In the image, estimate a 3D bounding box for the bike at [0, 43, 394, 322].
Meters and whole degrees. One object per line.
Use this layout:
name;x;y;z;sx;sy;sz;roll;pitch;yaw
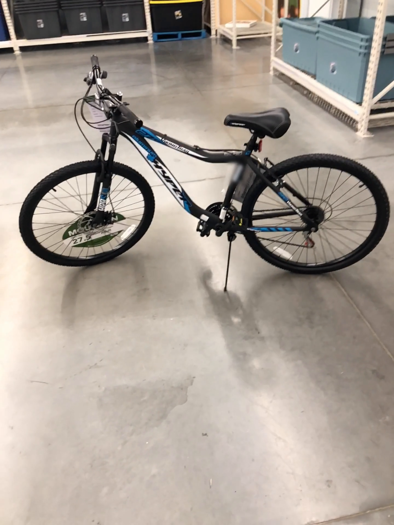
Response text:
bike;0.019;-0.320;1.917;1.632;0.986;0.575;-2;36;4
